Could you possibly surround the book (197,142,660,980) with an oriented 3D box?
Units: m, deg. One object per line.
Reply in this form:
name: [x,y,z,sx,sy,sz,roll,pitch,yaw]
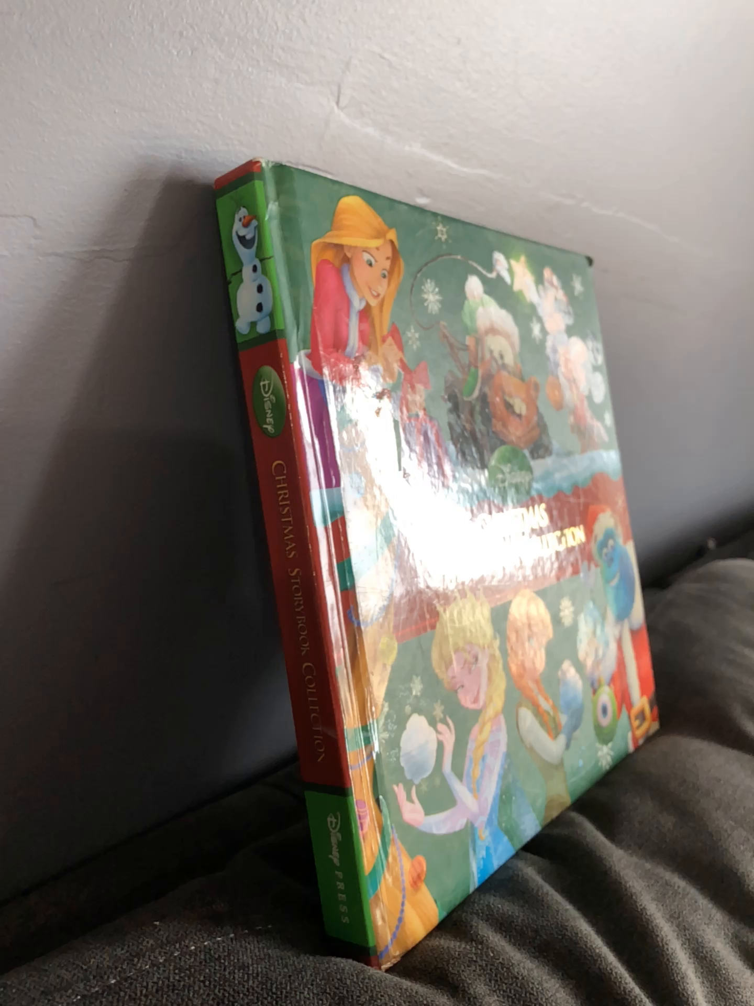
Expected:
book: [0.043,0.007,0.338,0.033,0.238,0.227,-7,2,38]
